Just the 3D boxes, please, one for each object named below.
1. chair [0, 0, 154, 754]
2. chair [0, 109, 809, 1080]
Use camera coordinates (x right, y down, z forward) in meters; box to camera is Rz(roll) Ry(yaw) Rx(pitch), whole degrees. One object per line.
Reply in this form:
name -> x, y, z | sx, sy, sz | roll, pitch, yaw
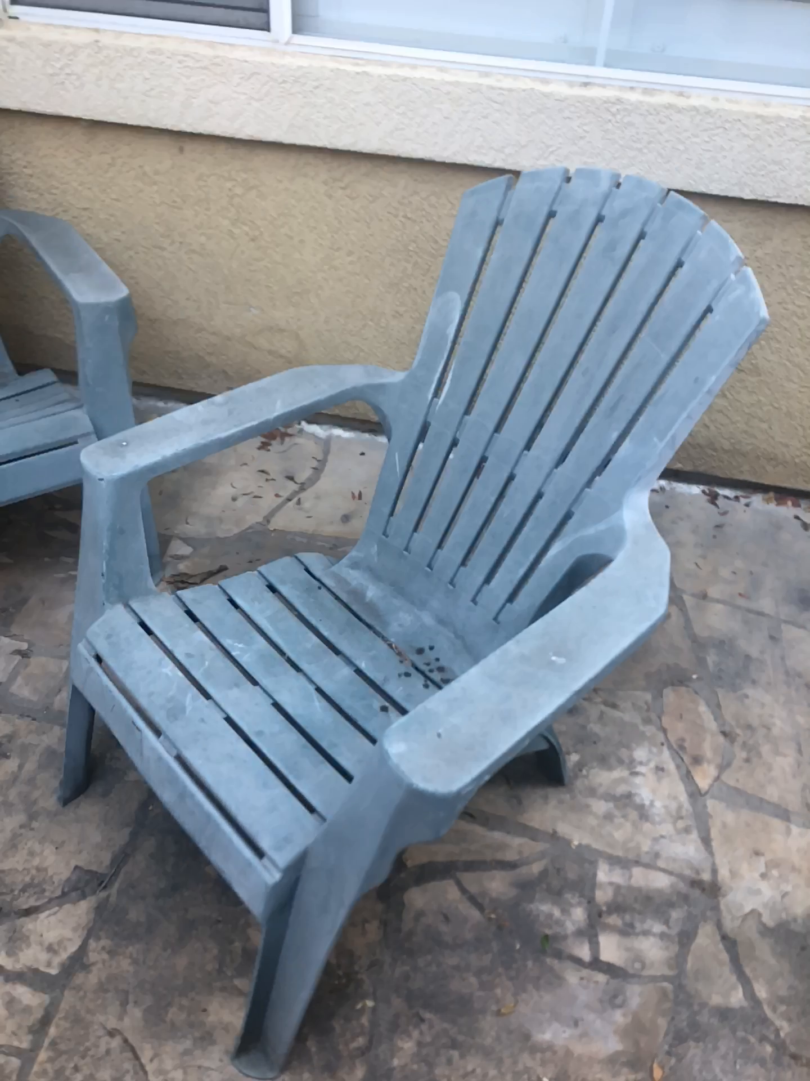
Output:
chair -> -1.138, -0.432, 1.847 | 0.744, 1.220, 0.913 | -20, 38, -28
chair -> -0.036, 0.005, 1.212 | 0.926, 0.882, 0.692 | -26, 48, -36
